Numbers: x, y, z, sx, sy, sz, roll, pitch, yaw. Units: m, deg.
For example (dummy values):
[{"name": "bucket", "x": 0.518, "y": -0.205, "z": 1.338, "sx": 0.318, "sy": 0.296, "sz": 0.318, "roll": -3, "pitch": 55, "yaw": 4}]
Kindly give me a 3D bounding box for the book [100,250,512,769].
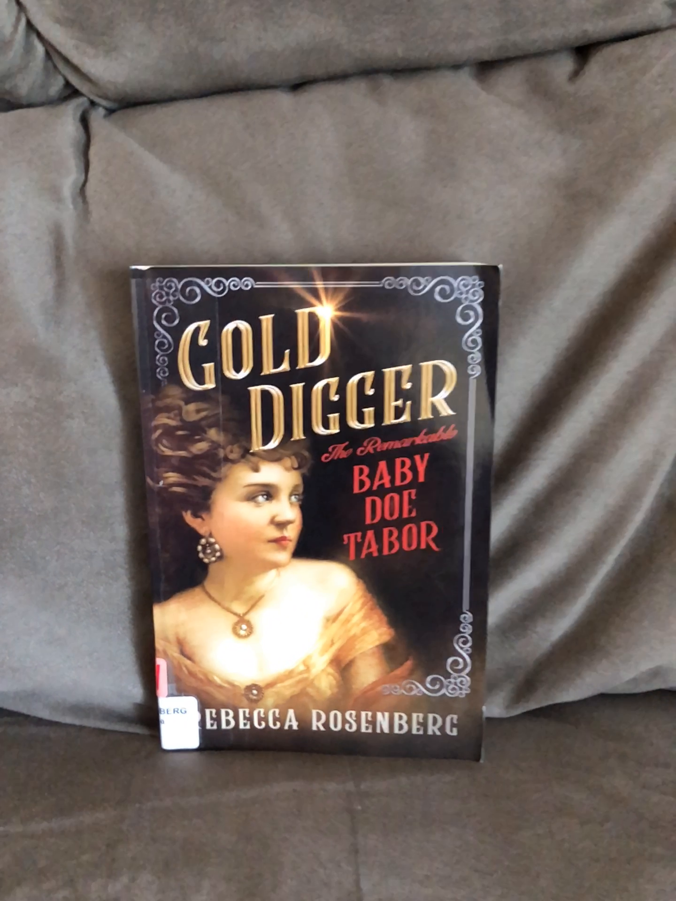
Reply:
[{"name": "book", "x": -0.011, "y": 0.025, "z": 0.303, "sx": 0.150, "sy": 0.200, "sz": 0.030, "roll": 0, "pitch": 9, "yaw": 5}]
